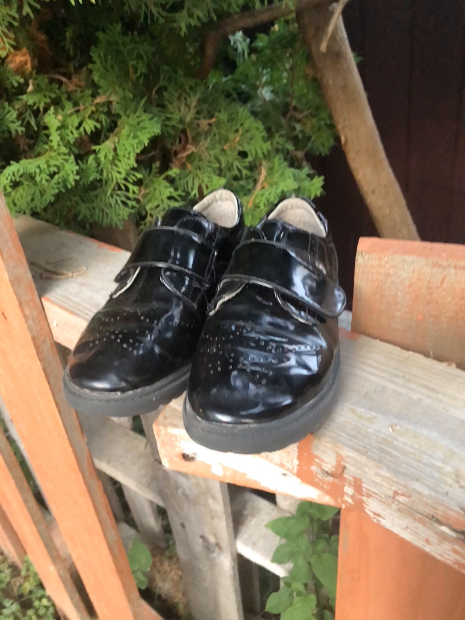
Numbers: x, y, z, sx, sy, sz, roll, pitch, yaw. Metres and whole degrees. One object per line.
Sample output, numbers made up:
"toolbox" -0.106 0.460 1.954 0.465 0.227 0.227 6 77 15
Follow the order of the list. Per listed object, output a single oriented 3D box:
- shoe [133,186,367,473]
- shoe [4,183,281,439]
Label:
"shoe" 0.031 -0.012 0.345 0.090 0.070 0.231 6 32 16
"shoe" -0.041 -0.022 0.386 0.090 0.070 0.241 8 32 19
